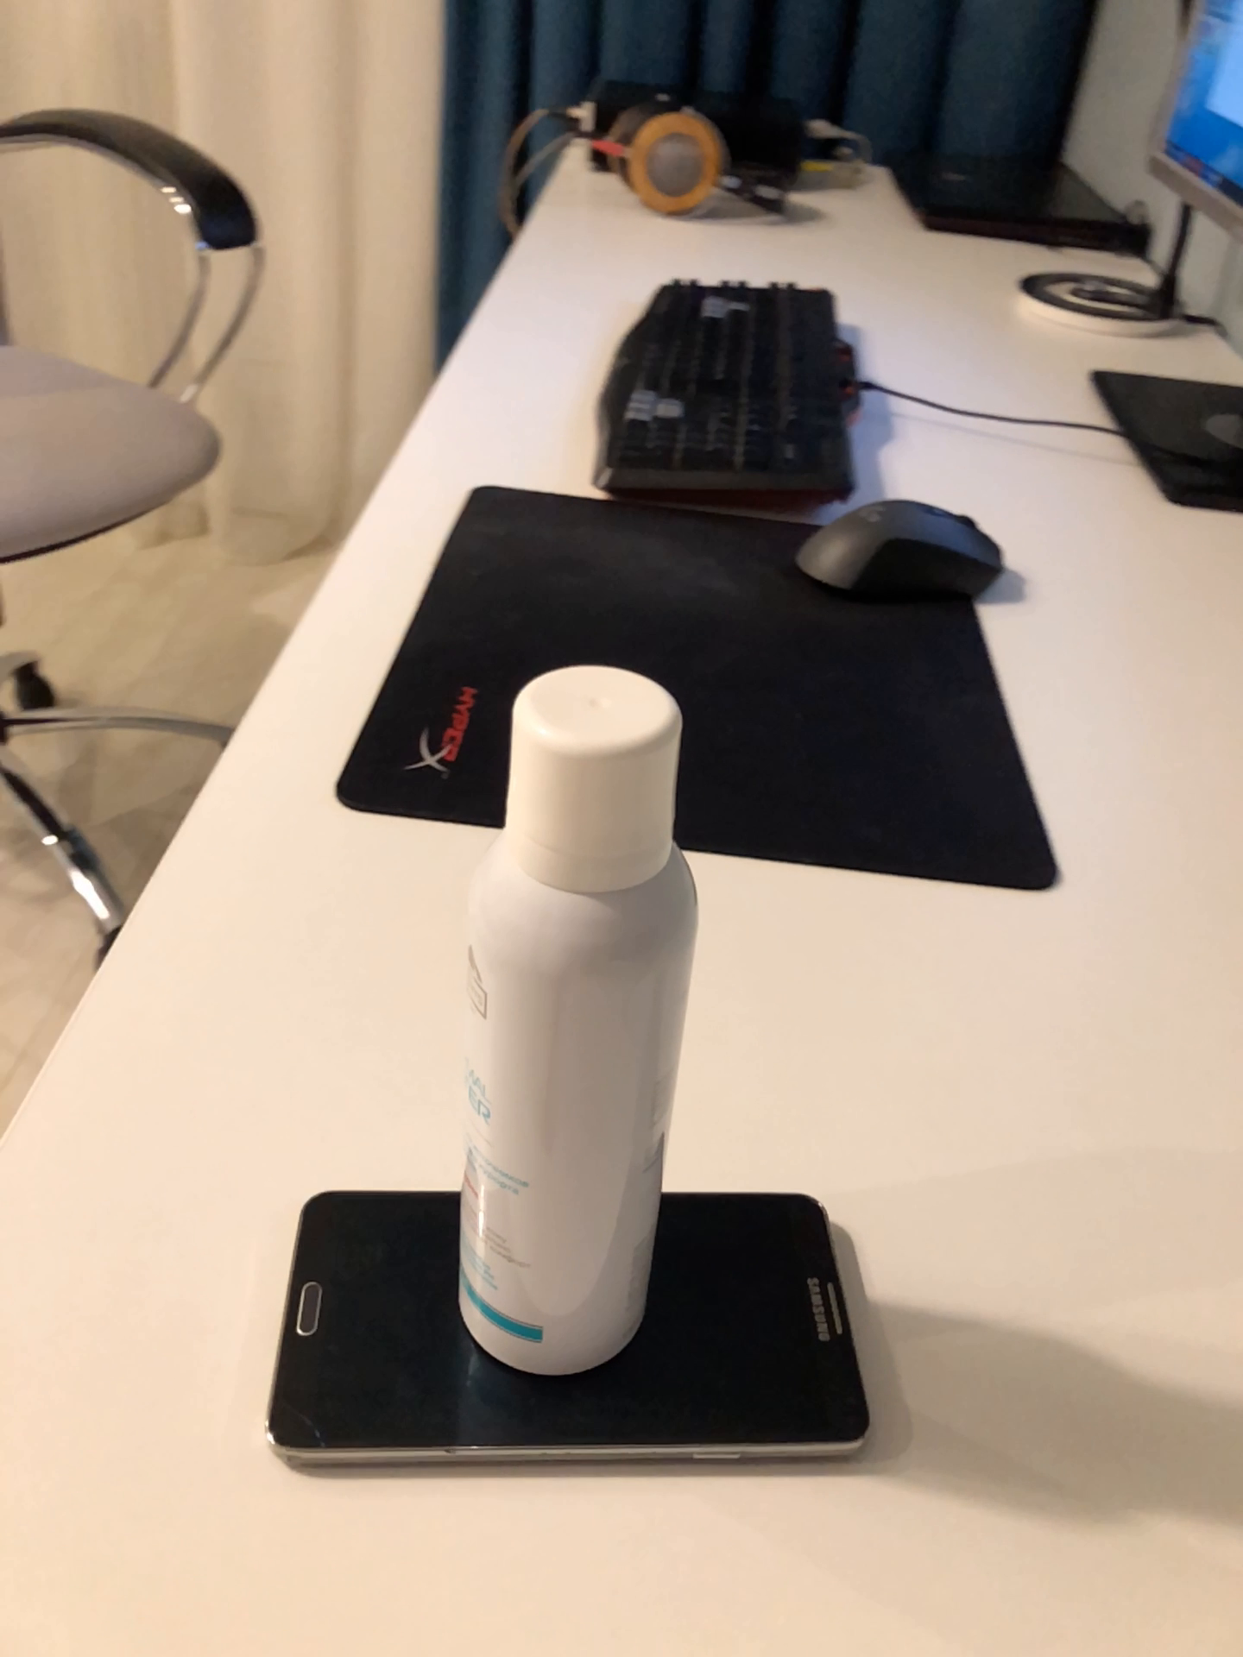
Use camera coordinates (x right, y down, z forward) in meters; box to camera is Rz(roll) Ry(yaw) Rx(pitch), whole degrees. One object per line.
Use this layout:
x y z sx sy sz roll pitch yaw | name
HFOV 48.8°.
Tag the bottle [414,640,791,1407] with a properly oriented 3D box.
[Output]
-0.012 0.050 0.316 0.059 0.175 0.054 4 34 -3 | bottle
